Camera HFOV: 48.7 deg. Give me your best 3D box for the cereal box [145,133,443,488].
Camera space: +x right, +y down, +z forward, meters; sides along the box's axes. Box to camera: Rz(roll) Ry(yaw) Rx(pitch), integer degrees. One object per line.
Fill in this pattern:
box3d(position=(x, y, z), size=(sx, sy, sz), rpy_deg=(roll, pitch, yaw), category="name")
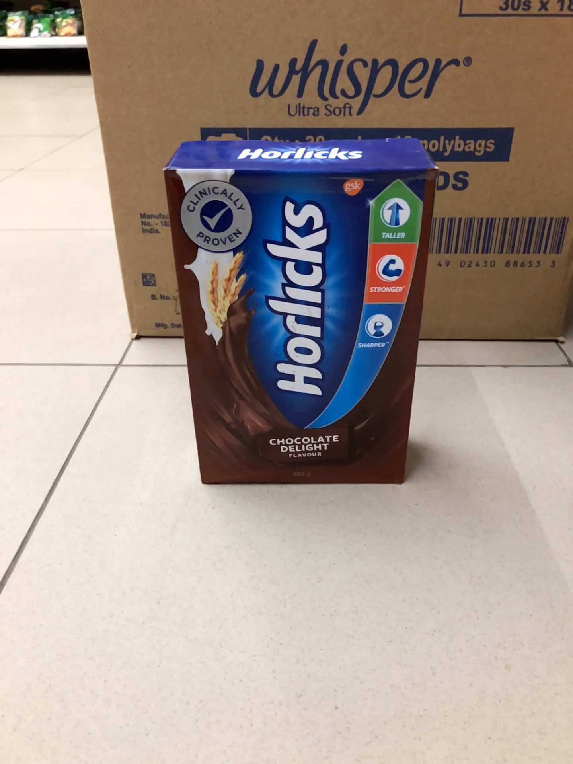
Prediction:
box3d(position=(0.005, -0.036, 0.373), size=(0.140, 0.199, 0.060), rpy_deg=(0, 30, 2), category="cereal box")
